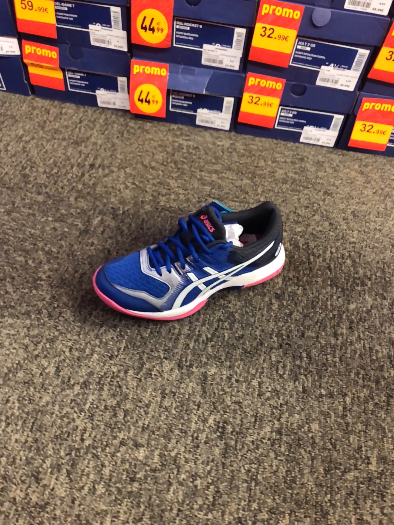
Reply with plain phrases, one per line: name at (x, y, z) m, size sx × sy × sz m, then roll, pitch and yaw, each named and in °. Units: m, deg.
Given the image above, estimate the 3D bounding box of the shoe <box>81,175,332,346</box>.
shoe at (0.008, -0.009, 0.550) m, size 0.271 × 0.099 × 0.125 m, roll -14°, pitch 54°, yaw -16°
